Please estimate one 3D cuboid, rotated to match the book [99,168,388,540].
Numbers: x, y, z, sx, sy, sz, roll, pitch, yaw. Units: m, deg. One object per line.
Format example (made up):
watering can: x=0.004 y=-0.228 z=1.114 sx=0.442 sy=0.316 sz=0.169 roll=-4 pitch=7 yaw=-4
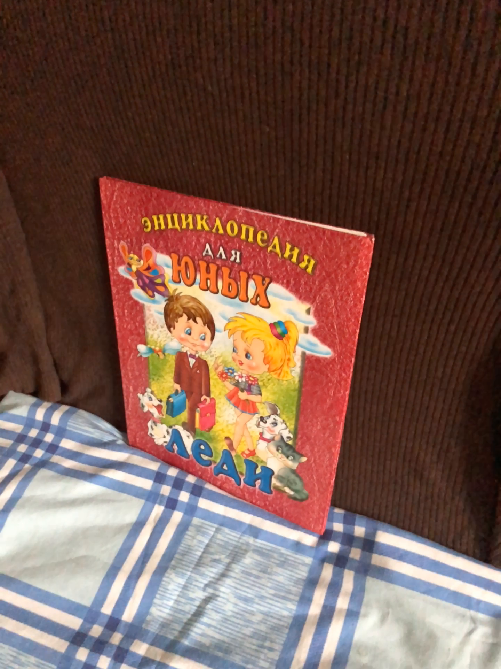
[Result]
book: x=-0.022 y=0.028 z=0.488 sx=0.230 sy=0.303 sz=0.020 roll=18 pitch=34 yaw=21
